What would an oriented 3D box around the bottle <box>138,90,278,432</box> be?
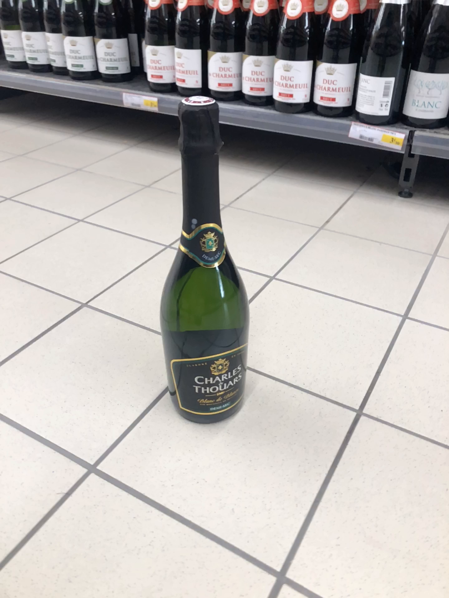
[{"bbox_3d":[-0.017,-0.023,0.469,0.090,0.308,0.090,0,33,0],"label":"bottle"}]
